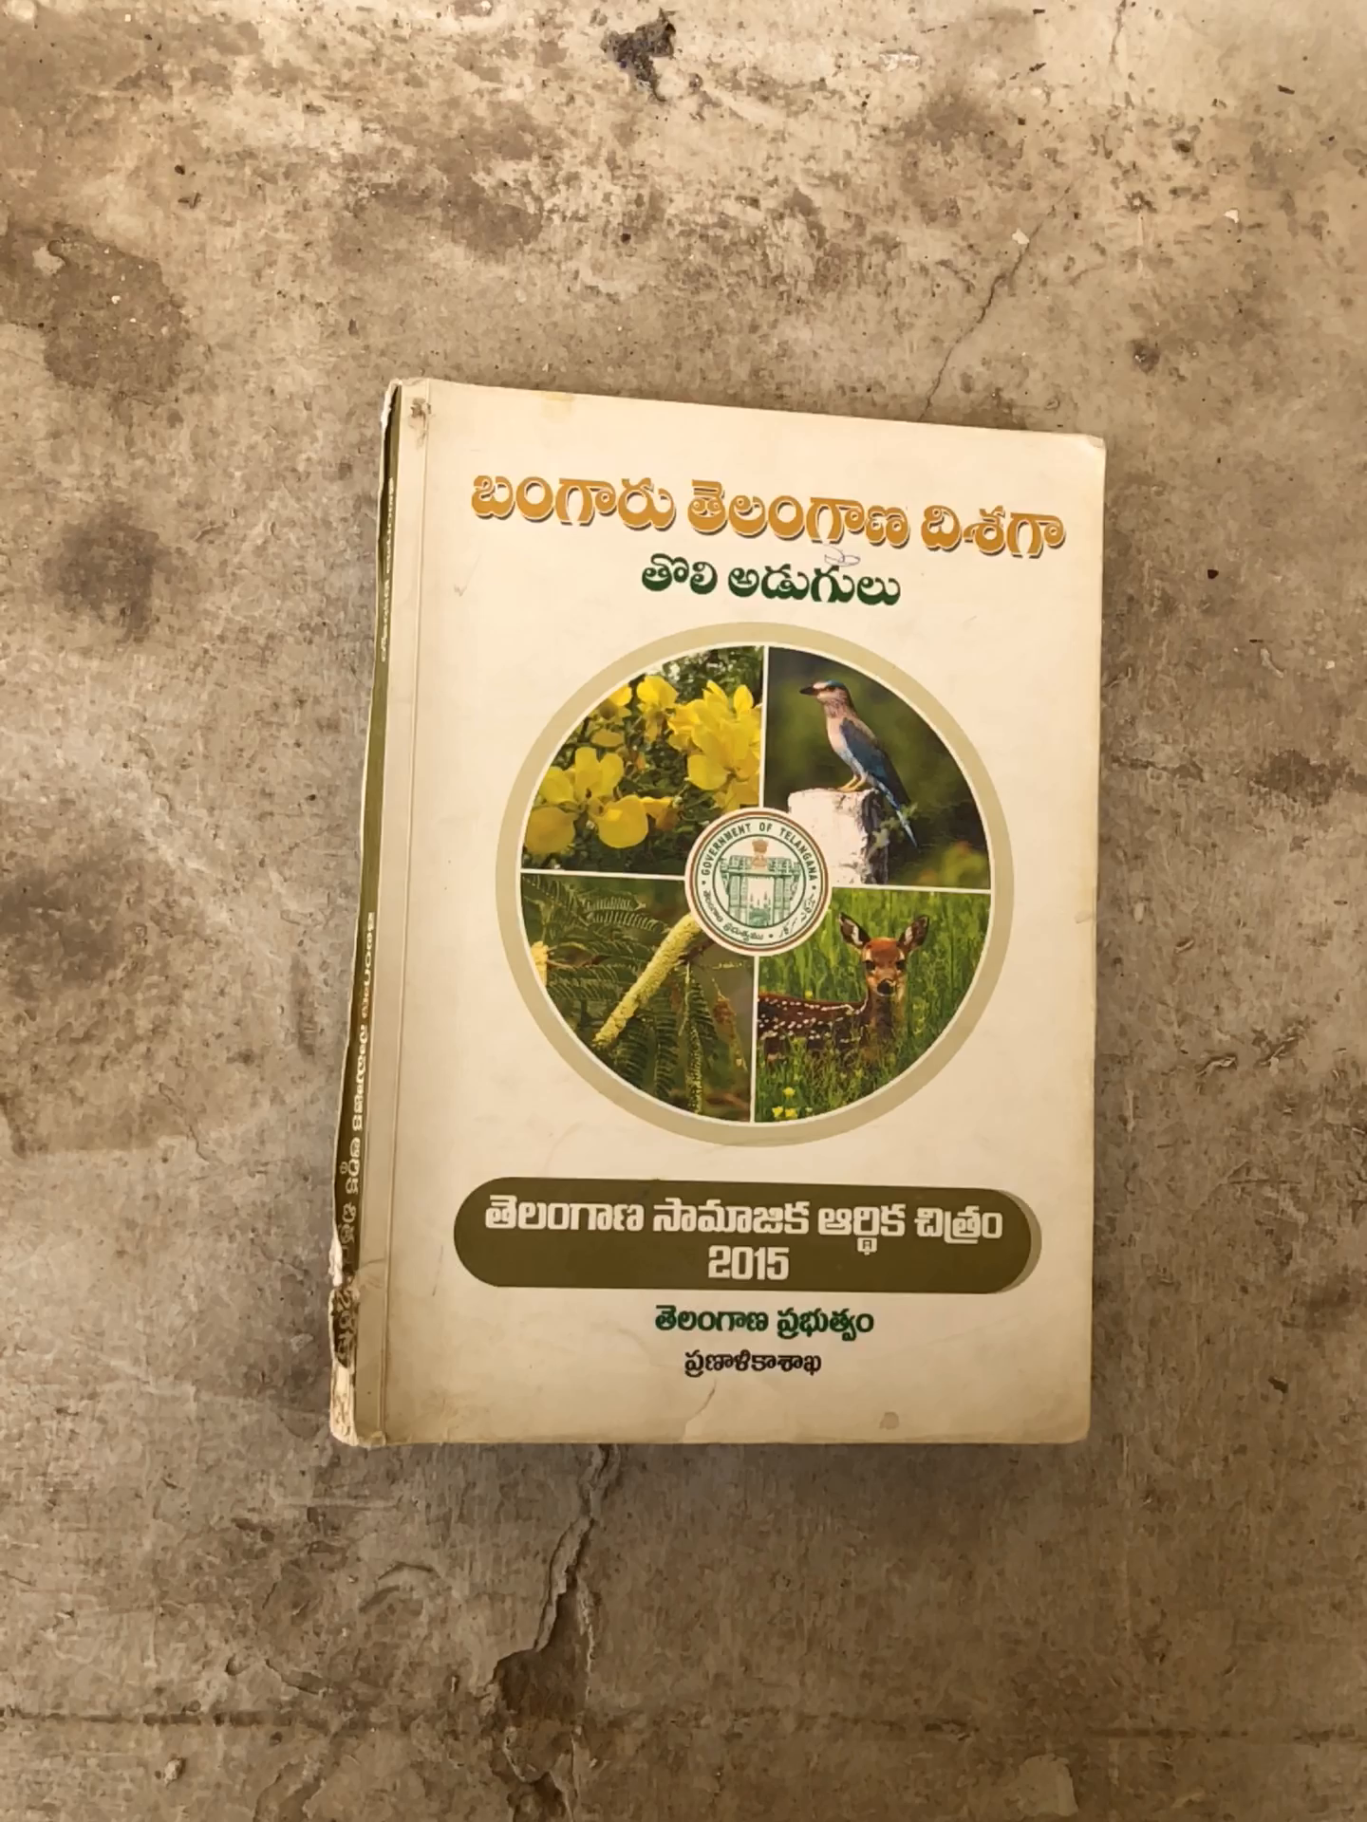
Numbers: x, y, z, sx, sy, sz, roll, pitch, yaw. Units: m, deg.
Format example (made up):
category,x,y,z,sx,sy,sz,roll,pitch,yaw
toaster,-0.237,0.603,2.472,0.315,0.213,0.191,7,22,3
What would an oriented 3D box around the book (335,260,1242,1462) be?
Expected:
category,x,y,z,sx,sy,sz,roll,pitch,yaw
book,0.030,-0.010,0.404,0.220,0.060,0.290,2,86,-6
